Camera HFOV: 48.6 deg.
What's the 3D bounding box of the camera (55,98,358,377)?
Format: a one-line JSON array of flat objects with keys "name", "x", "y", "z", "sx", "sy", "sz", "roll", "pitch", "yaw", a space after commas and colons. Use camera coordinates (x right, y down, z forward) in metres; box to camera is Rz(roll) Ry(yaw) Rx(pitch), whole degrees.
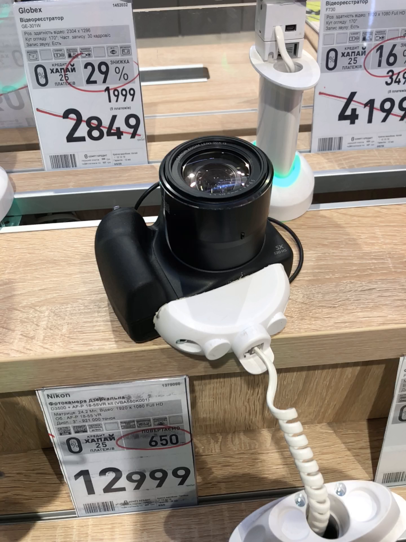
[{"name": "camera", "x": -0.002, "y": -0.026, "z": 0.282, "sx": 0.134, "sy": 0.090, "sz": 0.107, "roll": -20, "pitch": 54, "yaw": -17}]
